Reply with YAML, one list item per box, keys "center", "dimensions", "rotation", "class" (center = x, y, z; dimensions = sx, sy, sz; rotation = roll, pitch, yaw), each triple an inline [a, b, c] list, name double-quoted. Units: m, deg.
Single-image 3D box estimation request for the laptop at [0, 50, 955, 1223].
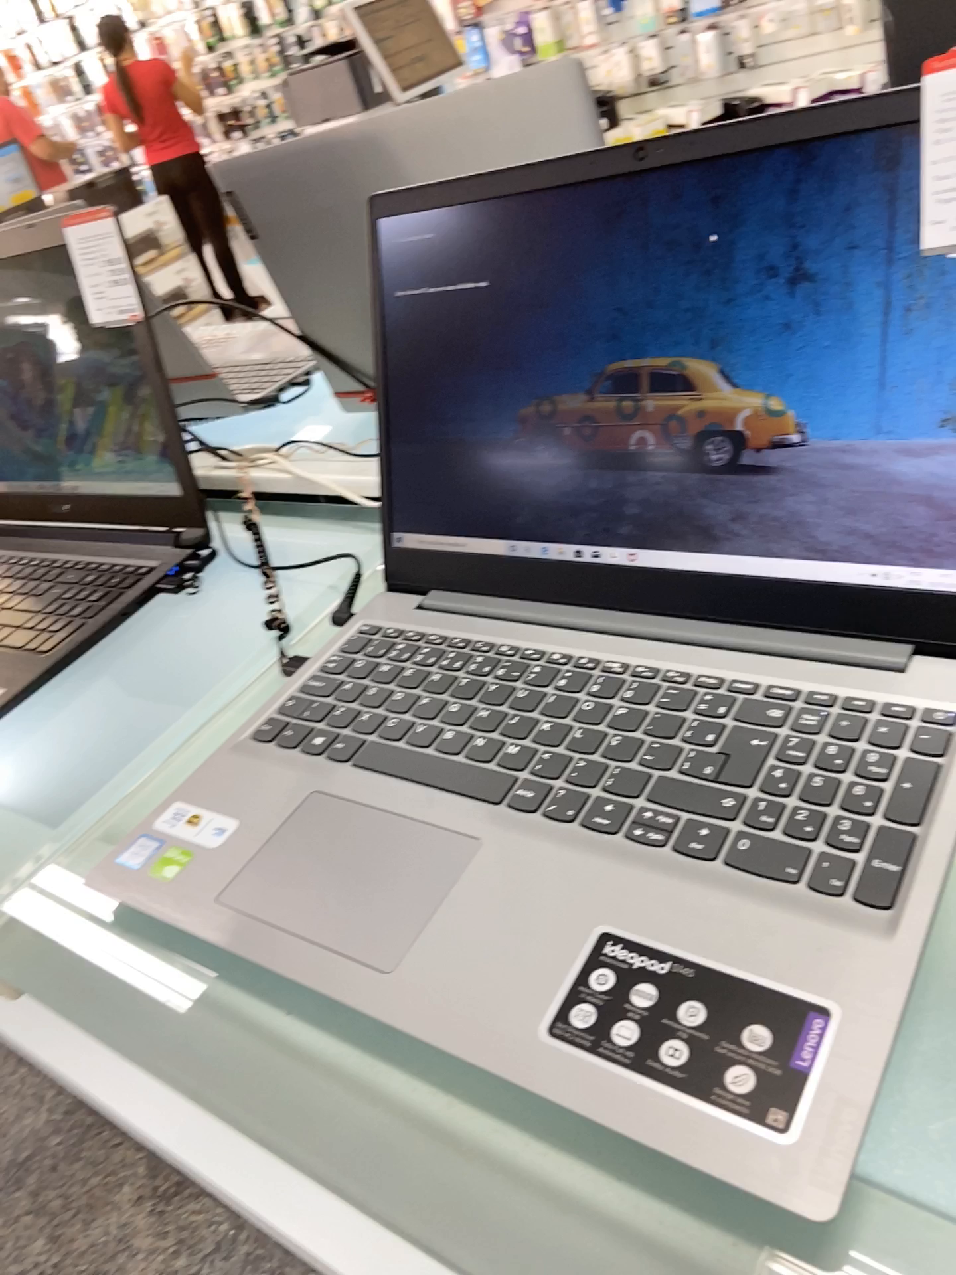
- center: [0.015, -0.052, 0.432]
  dimensions: [0.364, 0.213, 0.361]
  rotation: [7, 41, 36]
  class: "laptop"
